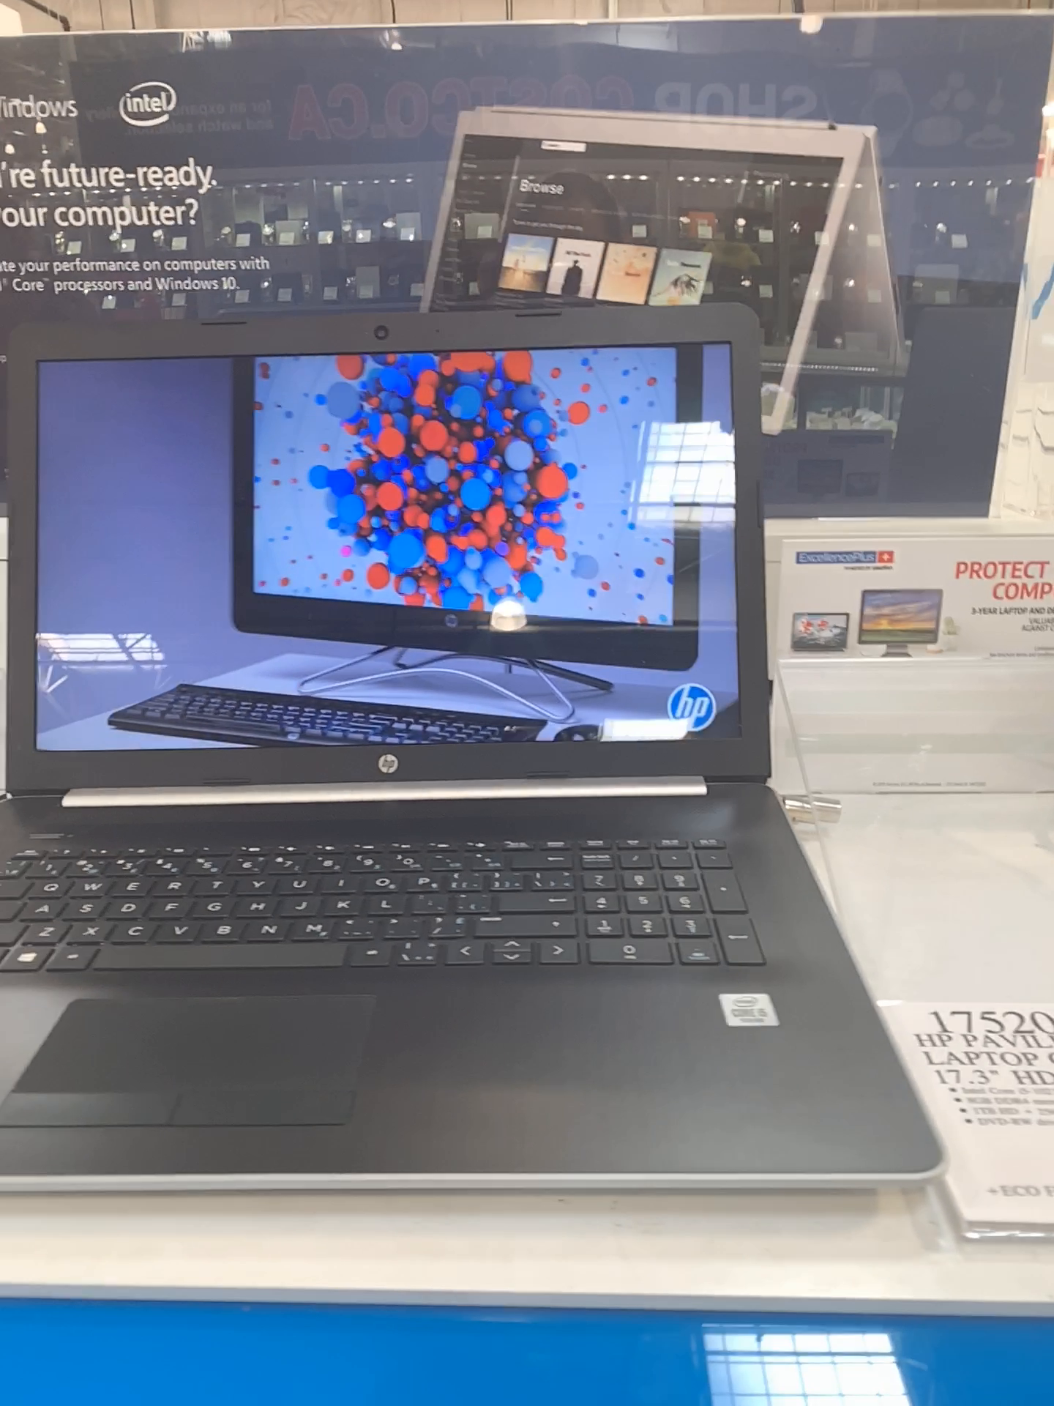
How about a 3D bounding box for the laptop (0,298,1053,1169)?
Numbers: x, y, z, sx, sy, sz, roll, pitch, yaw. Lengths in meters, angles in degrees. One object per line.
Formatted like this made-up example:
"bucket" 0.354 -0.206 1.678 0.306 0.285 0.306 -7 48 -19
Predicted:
"laptop" -0.073 -0.037 0.455 0.394 0.234 0.371 -1 19 1
